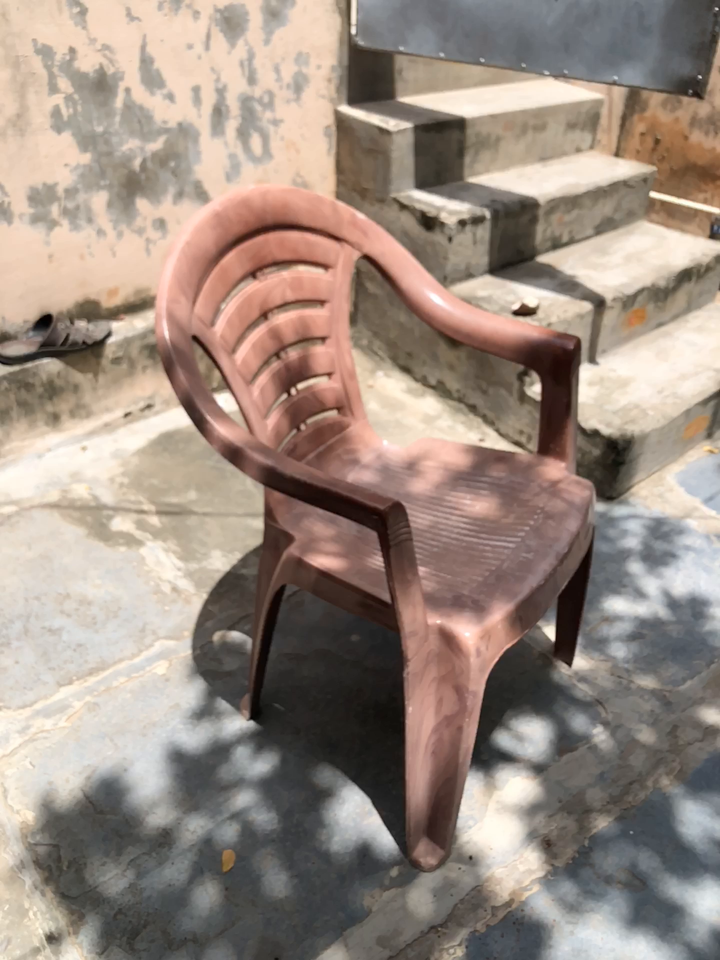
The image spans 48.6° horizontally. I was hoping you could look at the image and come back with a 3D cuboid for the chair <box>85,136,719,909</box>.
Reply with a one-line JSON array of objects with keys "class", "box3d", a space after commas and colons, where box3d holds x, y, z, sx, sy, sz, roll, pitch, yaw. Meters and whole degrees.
[{"class": "chair", "box3d": [0.089, 0.012, 1.130, 0.540, 0.766, 0.583, 23, 40, 27]}]
